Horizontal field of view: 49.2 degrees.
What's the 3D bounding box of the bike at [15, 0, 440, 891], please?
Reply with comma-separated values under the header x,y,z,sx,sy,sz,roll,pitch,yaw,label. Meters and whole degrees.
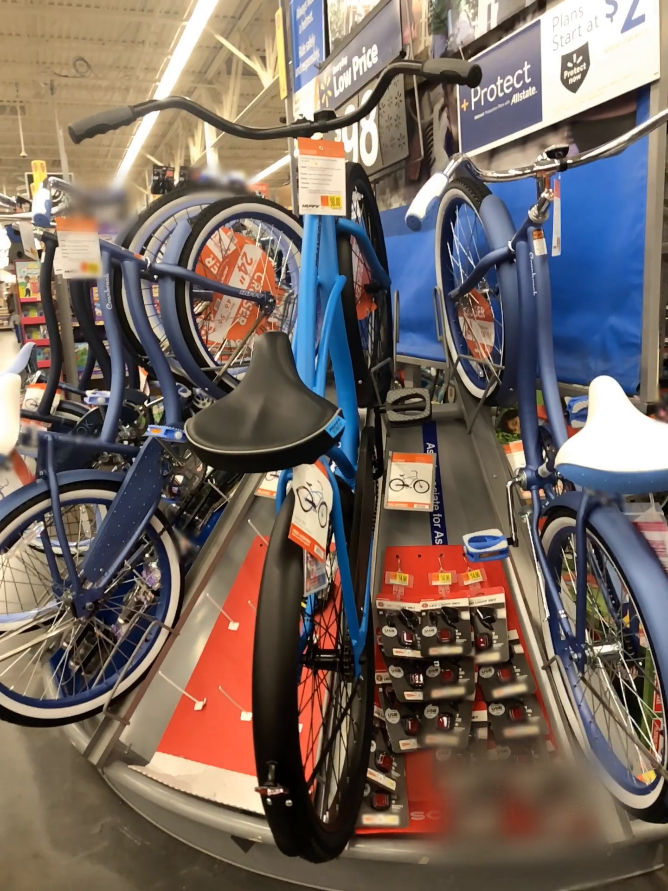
x,y,z,sx,sy,sz,roll,pitch,yaw,label
-0.056,-0.538,1.469,0.505,1.120,1.567,-1,39,9,bike
